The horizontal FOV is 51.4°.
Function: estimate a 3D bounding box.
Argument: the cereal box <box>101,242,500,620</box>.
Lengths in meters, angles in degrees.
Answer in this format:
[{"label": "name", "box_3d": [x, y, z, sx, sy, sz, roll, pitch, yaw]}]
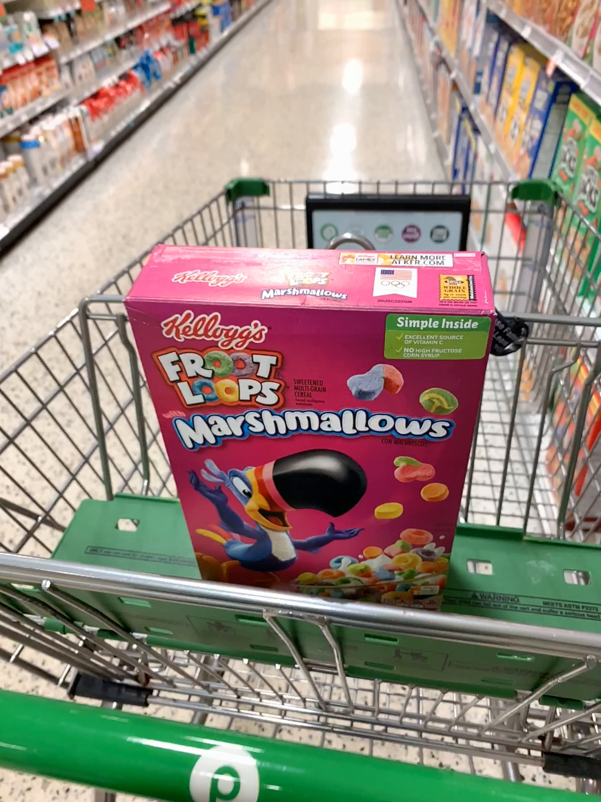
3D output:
[{"label": "cereal box", "box_3d": [0.008, 0.039, 0.428, 0.200, 0.287, 0.061, 3, 43, 8]}]
